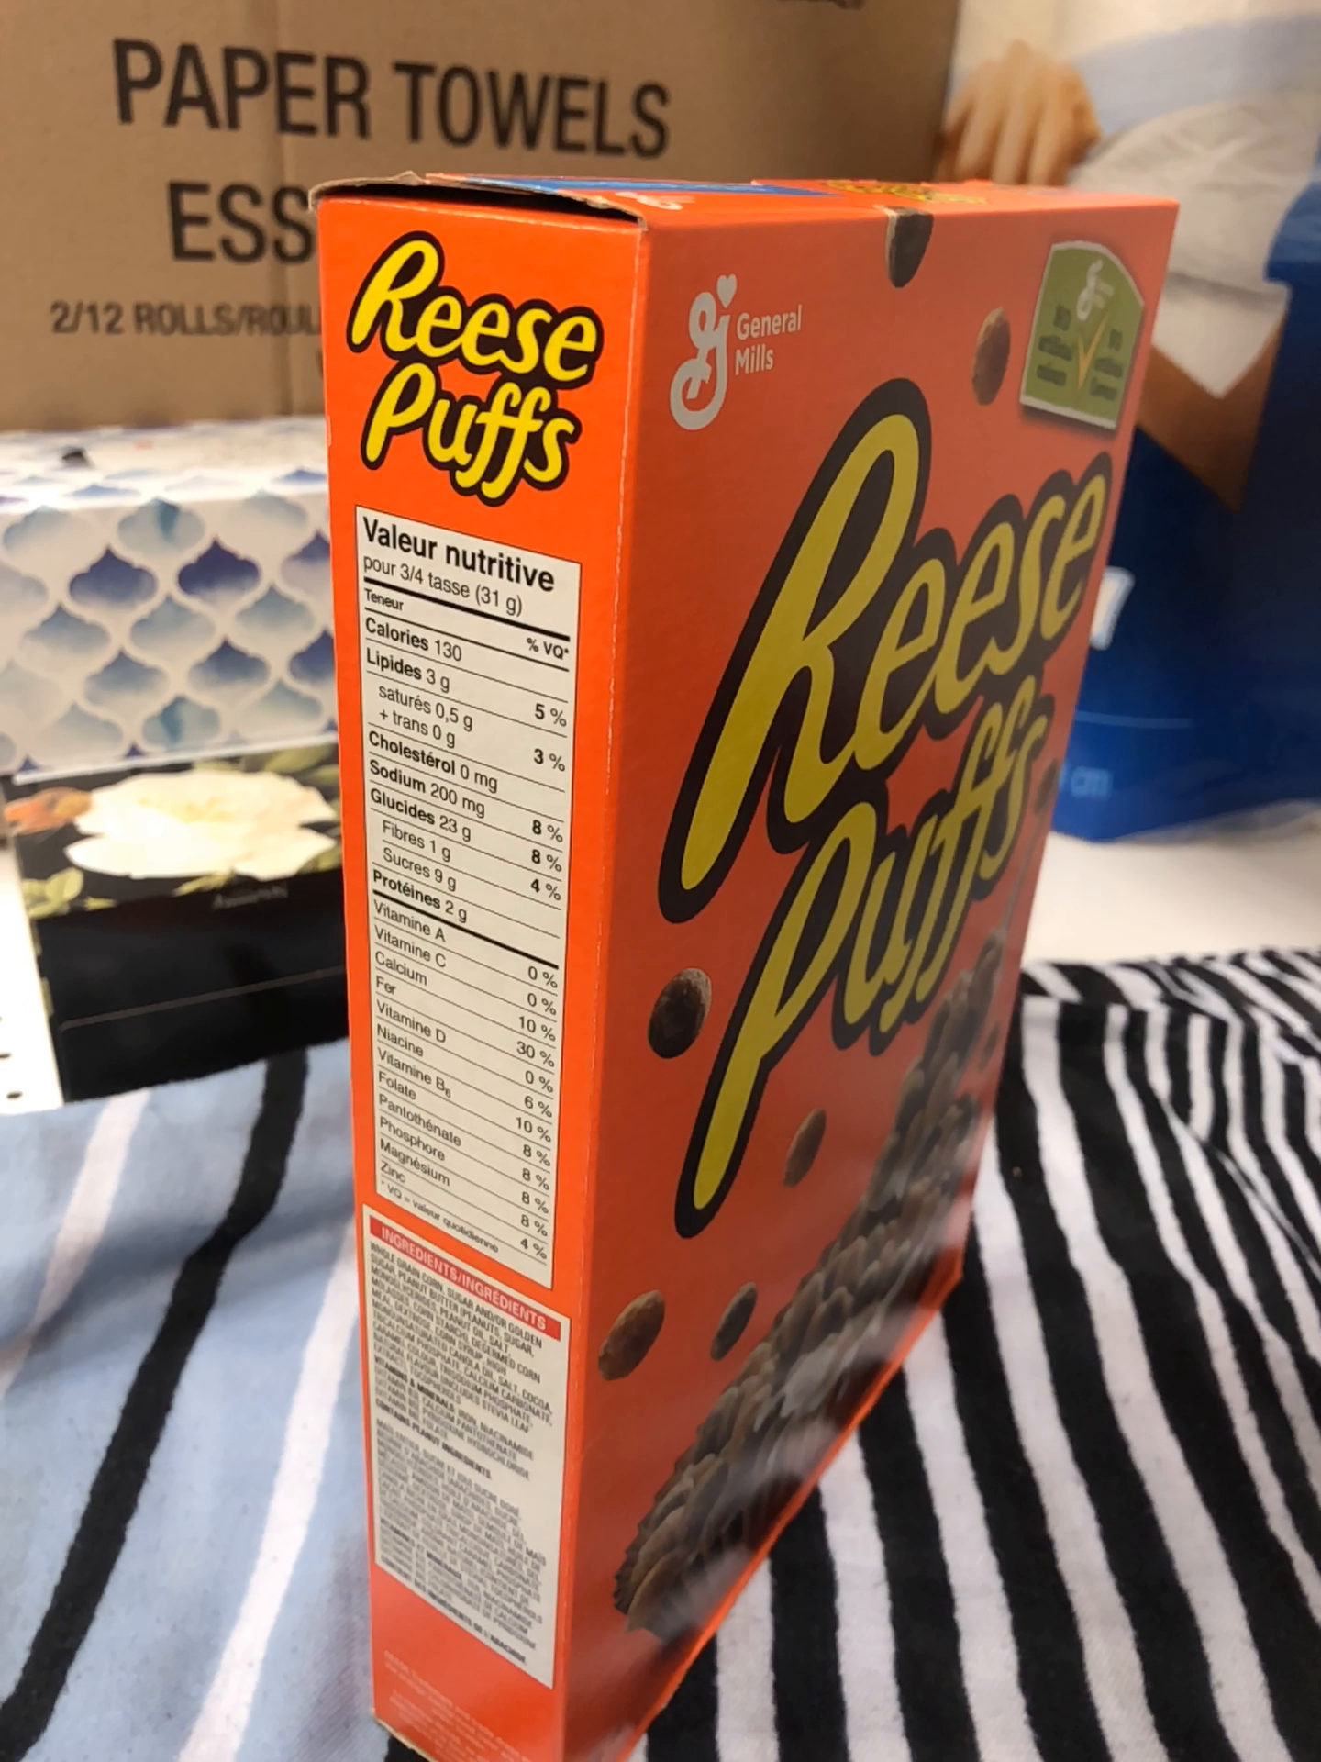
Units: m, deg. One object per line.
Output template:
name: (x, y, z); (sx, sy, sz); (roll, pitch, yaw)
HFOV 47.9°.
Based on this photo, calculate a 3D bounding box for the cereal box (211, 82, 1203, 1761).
cereal box: (0.024, 0.011, 0.274); (0.040, 0.269, 0.211); (18, 31, 28)
